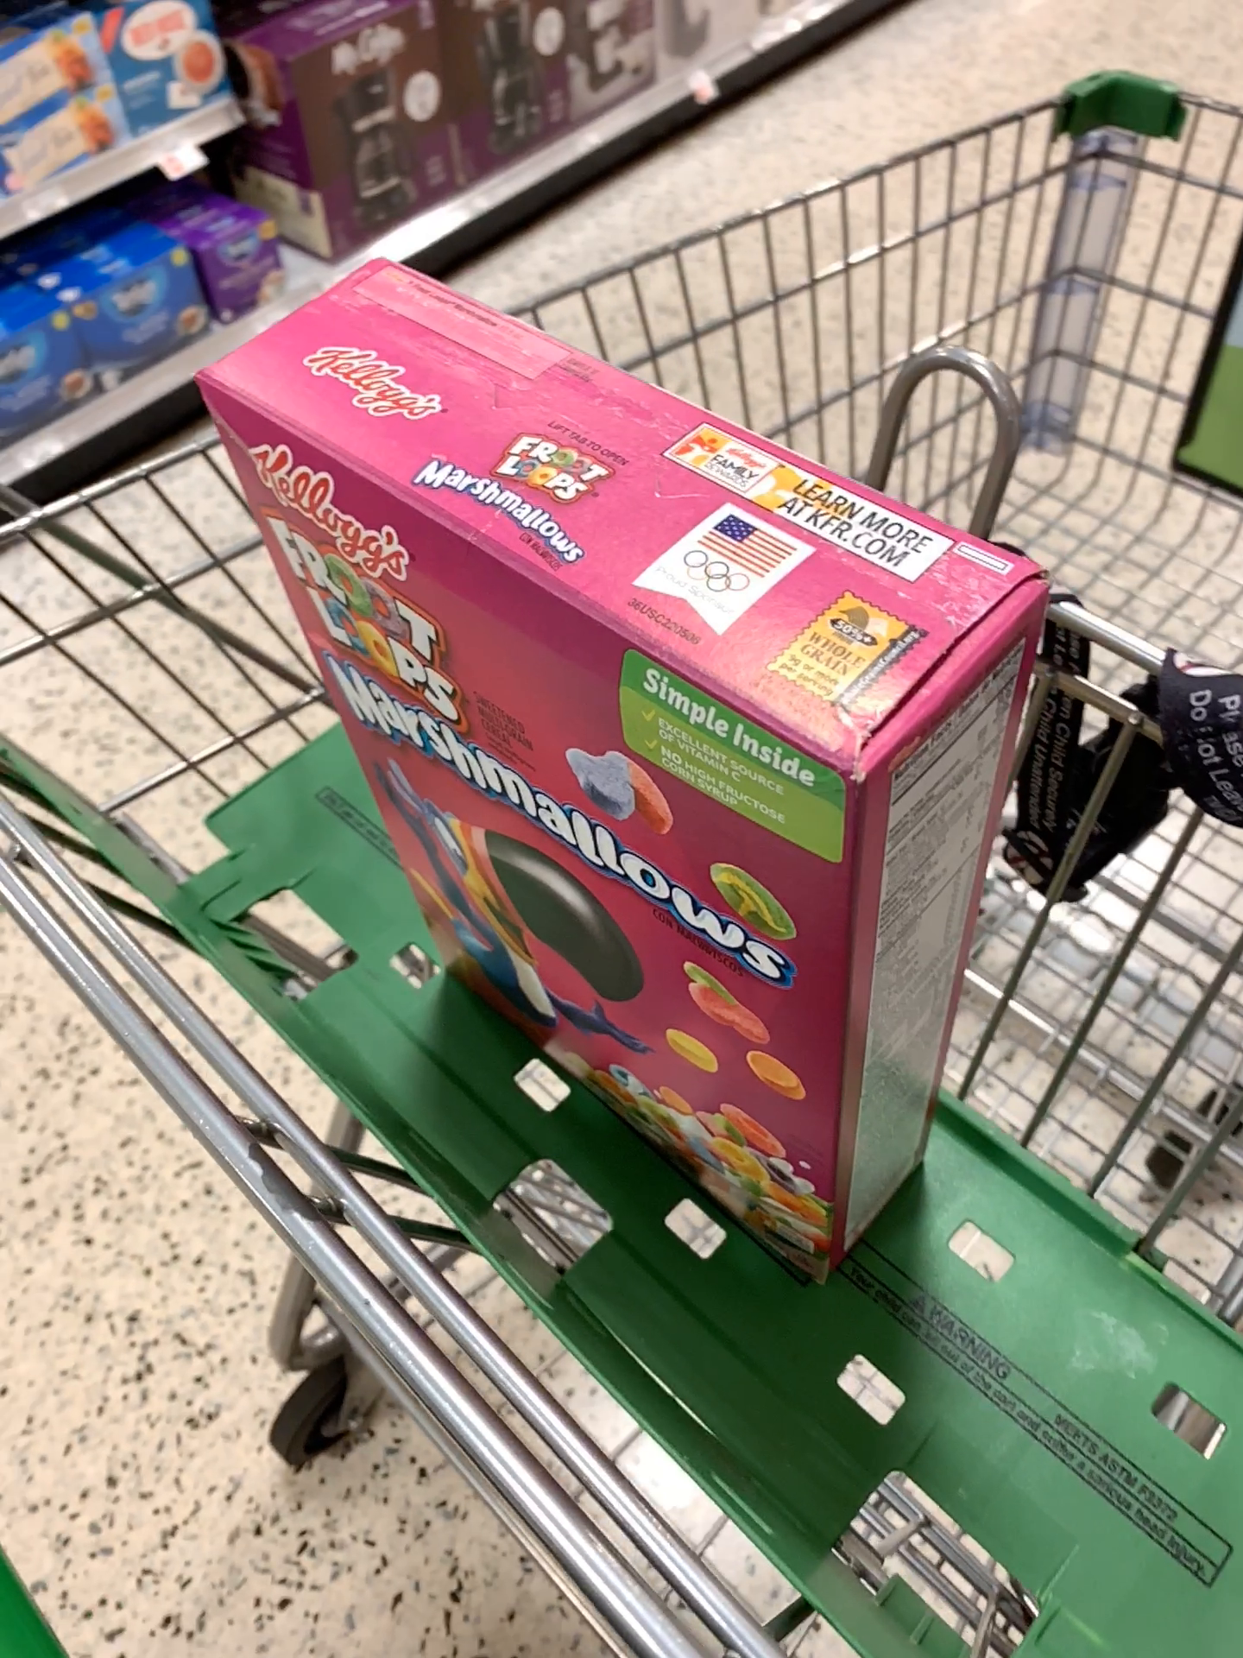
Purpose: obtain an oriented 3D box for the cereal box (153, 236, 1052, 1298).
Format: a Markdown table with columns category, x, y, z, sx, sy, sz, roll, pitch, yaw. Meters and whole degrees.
| category | x | y | z | sx | sy | sz | roll | pitch | yaw |
| --- | --- | --- | --- | --- | --- | --- | --- | --- | --- |
| cereal box | -0.001 | 0.006 | 0.380 | 0.201 | 0.287 | 0.060 | 35 | 66 | 28 |
